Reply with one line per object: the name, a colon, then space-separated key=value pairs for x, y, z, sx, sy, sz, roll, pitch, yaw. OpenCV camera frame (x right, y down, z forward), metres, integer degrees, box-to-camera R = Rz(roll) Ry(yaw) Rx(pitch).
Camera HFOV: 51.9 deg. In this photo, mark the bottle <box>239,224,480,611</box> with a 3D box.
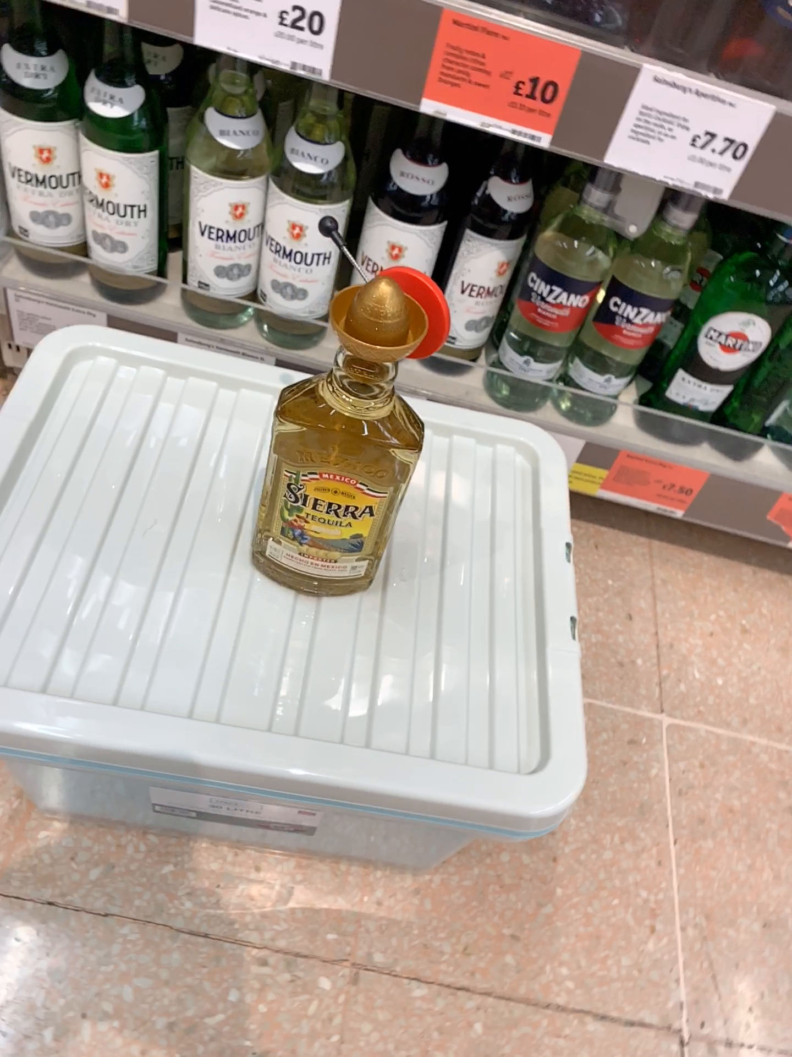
bottle: x=-0.034 y=-0.049 z=0.511 sx=0.100 sy=0.258 sz=0.058 roll=12 pitch=51 yaw=-6
